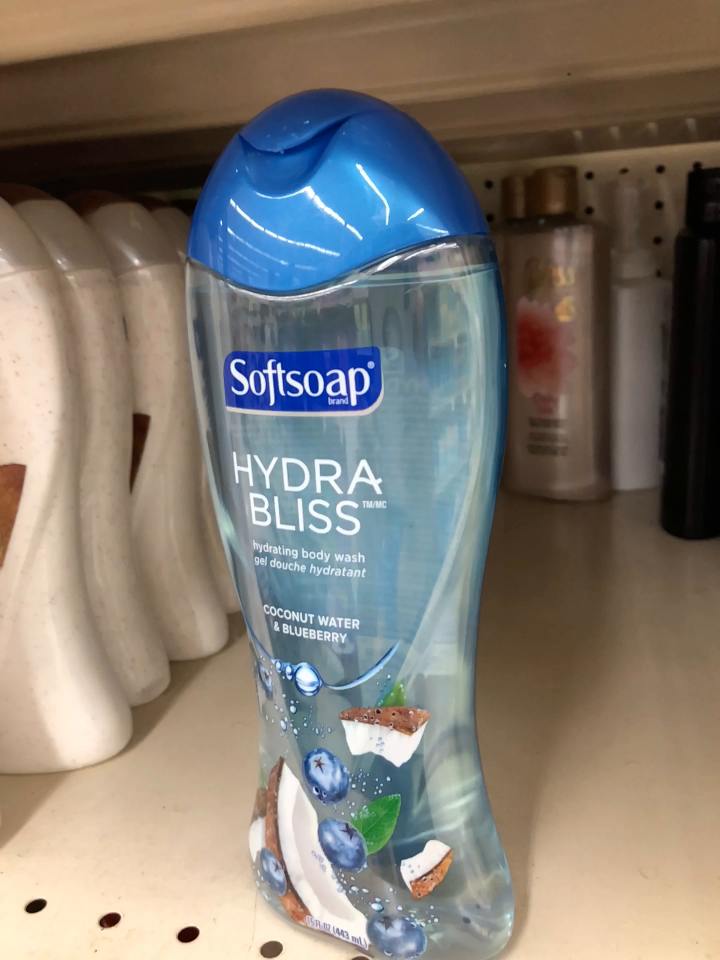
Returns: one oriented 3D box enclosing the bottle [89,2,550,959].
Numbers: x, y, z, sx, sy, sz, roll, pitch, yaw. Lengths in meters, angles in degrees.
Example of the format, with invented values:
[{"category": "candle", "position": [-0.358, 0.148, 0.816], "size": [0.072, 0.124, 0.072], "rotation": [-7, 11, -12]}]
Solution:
[{"category": "bottle", "position": [0.000, 0.015, 0.197], "size": [0.080, 0.211, 0.051], "rotation": [5, 19, 26]}]
